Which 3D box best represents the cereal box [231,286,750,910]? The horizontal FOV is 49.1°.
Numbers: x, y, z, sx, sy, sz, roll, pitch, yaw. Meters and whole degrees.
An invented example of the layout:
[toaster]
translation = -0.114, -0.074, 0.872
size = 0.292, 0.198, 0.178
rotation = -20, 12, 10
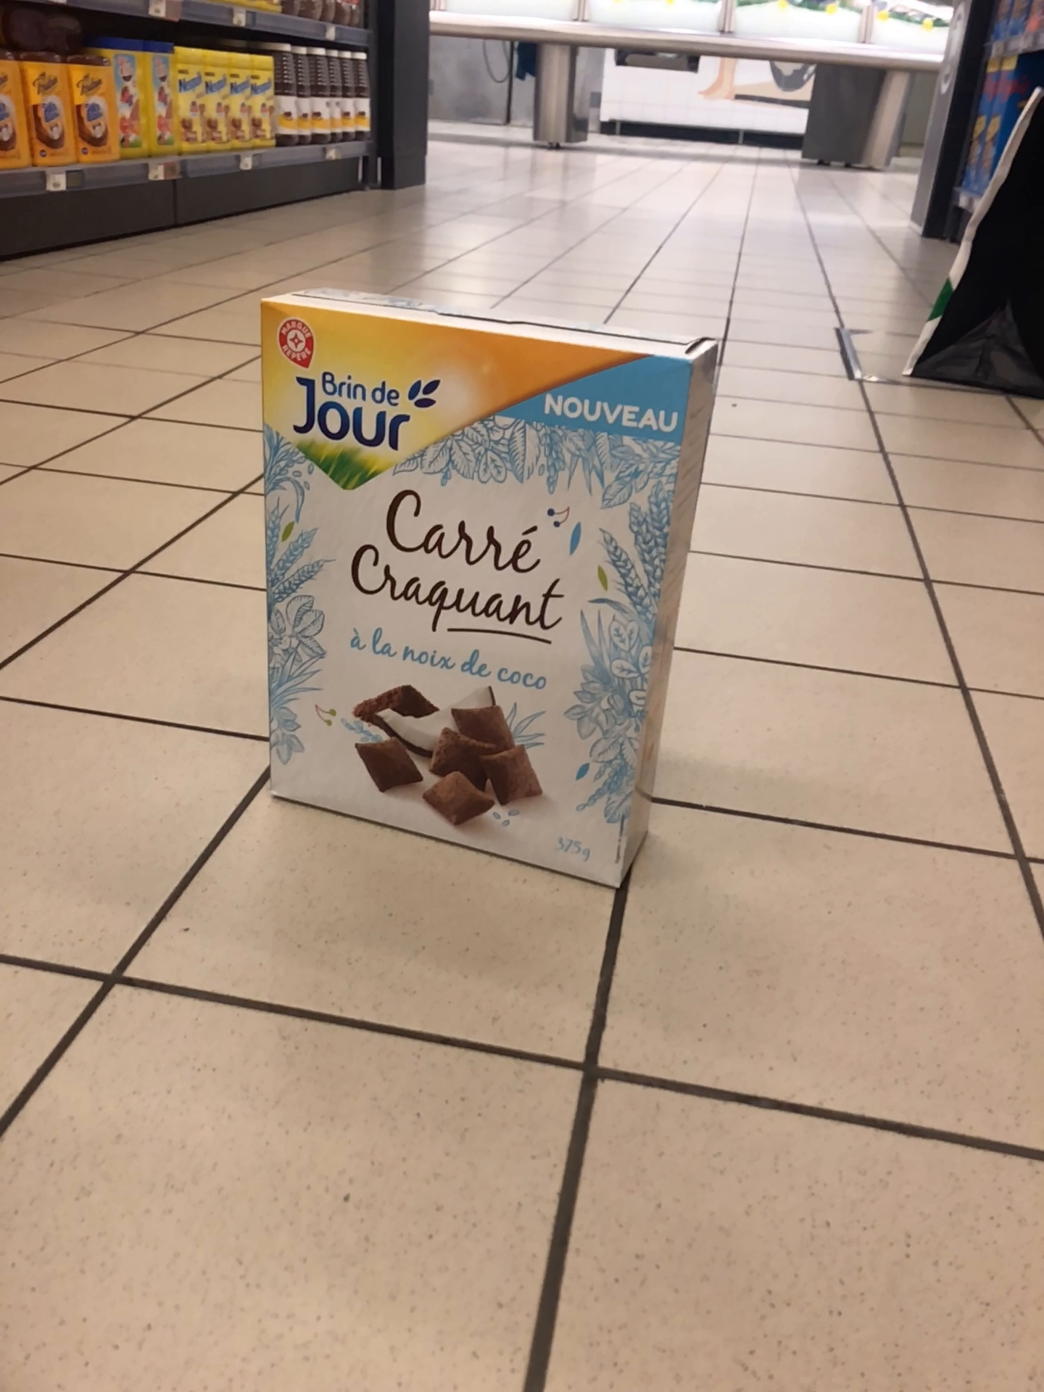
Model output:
[cereal box]
translation = -0.019, -0.047, 0.517
size = 0.200, 0.239, 0.070
rotation = 12, 27, 18
